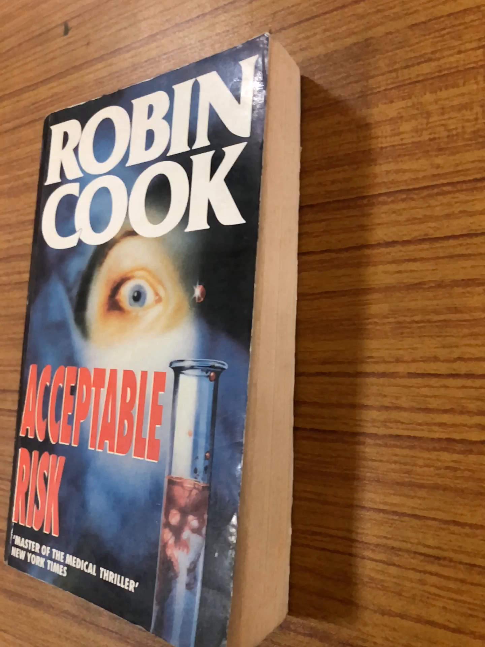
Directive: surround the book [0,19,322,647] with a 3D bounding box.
[{"bbox_3d":[-0.034,0.002,0.194,0.110,0.040,0.170,0,84,34],"label":"book"}]
